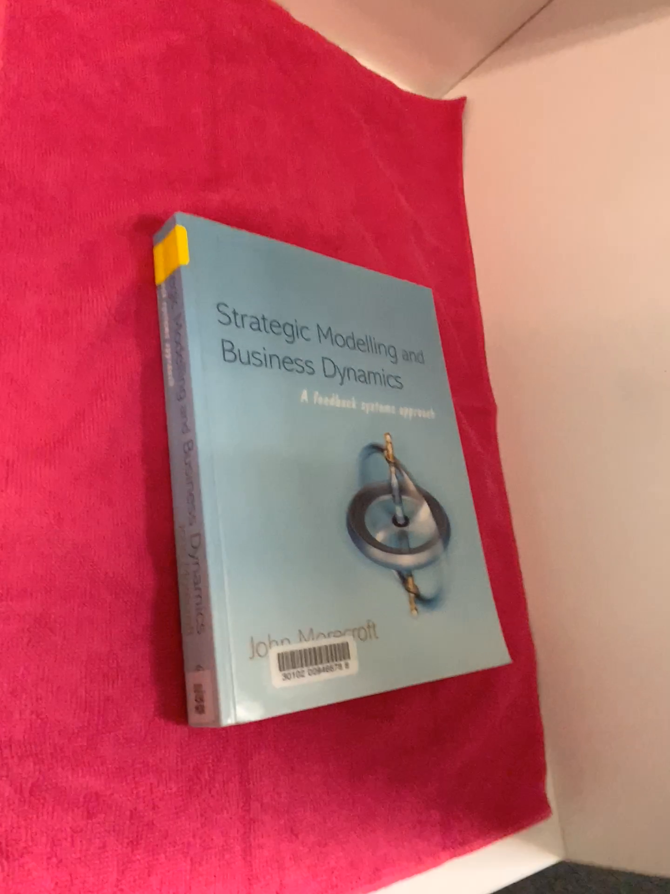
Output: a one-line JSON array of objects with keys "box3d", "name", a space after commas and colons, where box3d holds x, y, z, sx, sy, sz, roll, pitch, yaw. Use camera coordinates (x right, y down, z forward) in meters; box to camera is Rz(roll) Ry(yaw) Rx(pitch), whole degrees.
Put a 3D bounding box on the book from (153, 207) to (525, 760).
[{"box3d": [0.007, 0.013, 0.375, 0.193, 0.033, 0.251, 5, 70, -39], "name": "book"}]
